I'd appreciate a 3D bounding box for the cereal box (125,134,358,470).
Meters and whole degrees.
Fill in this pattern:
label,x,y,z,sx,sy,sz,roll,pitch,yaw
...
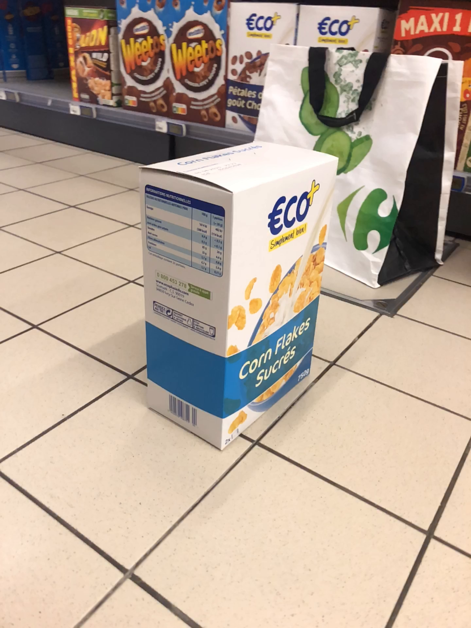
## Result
label,x,y,z,sx,sy,sz,roll,pitch,yaw
cereal box,0.010,-0.027,0.581,0.130,0.298,0.211,21,33,32

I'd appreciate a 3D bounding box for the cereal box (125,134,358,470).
label,x,y,z,sx,sy,sz,roll,pitch,yaw
cereal box,0.010,-0.027,0.581,0.130,0.298,0.211,21,33,32
